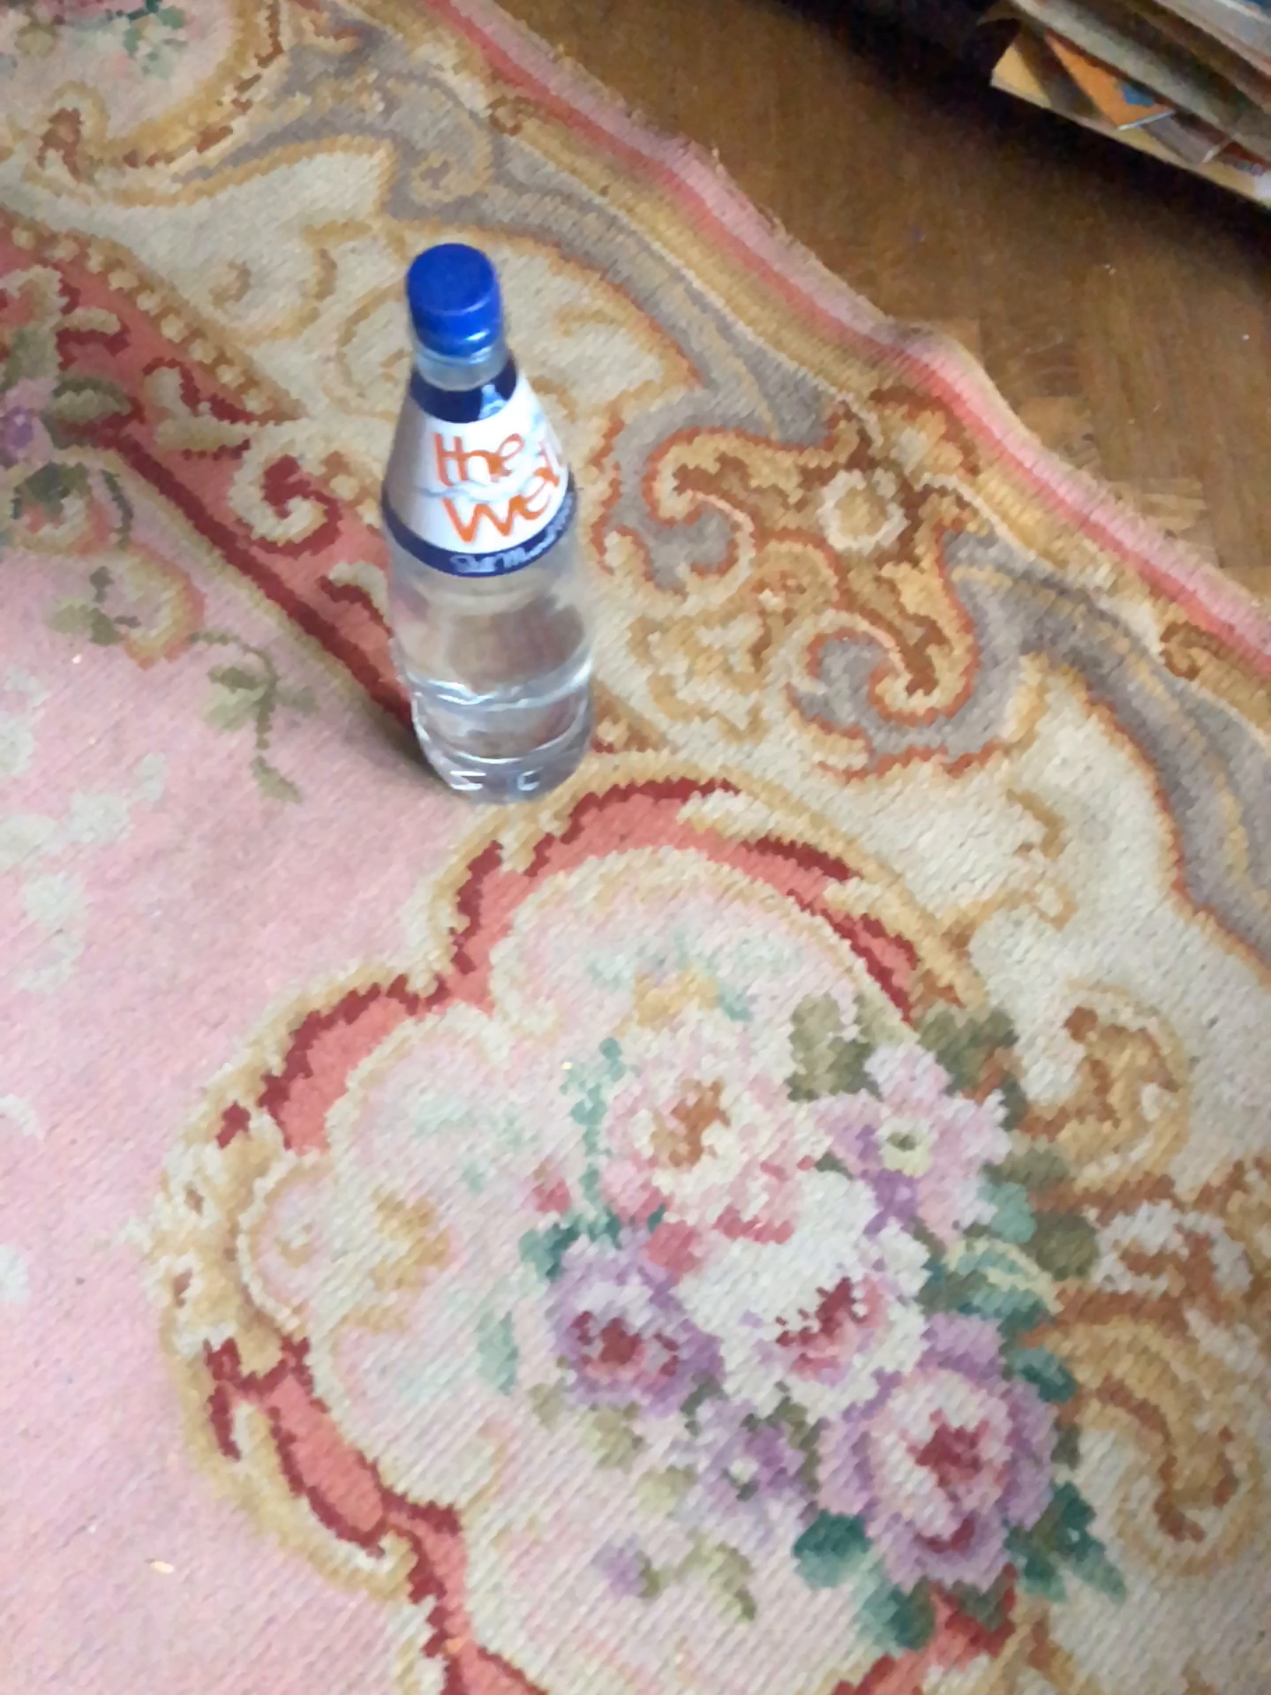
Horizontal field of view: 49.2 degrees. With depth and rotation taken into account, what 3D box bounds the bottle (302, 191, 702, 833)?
[{"bbox_3d":[-0.054,-0.118,0.608,0.110,0.309,0.100,1,71,-3],"label":"bottle"}]
